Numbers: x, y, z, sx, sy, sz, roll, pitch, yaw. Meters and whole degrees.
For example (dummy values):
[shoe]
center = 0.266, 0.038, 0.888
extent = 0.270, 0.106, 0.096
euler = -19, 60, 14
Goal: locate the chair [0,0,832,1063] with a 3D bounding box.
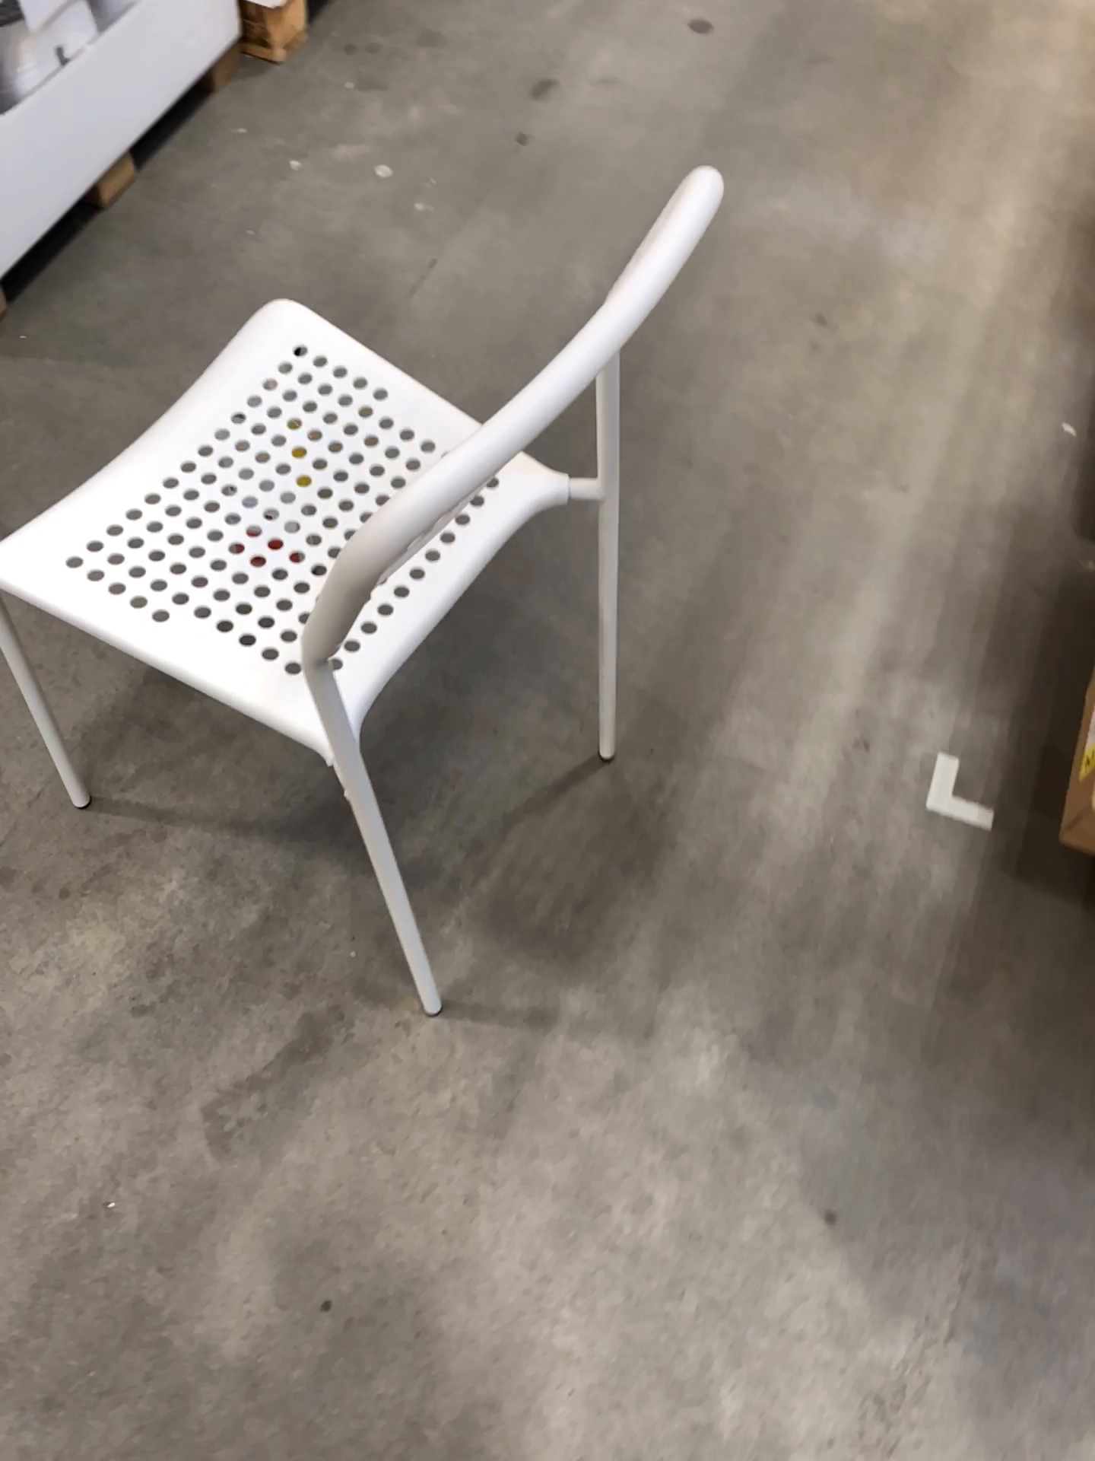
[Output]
[chair]
center = -0.189, -0.155, 0.981
extent = 0.510, 0.699, 0.461
euler = 32, 64, 14
